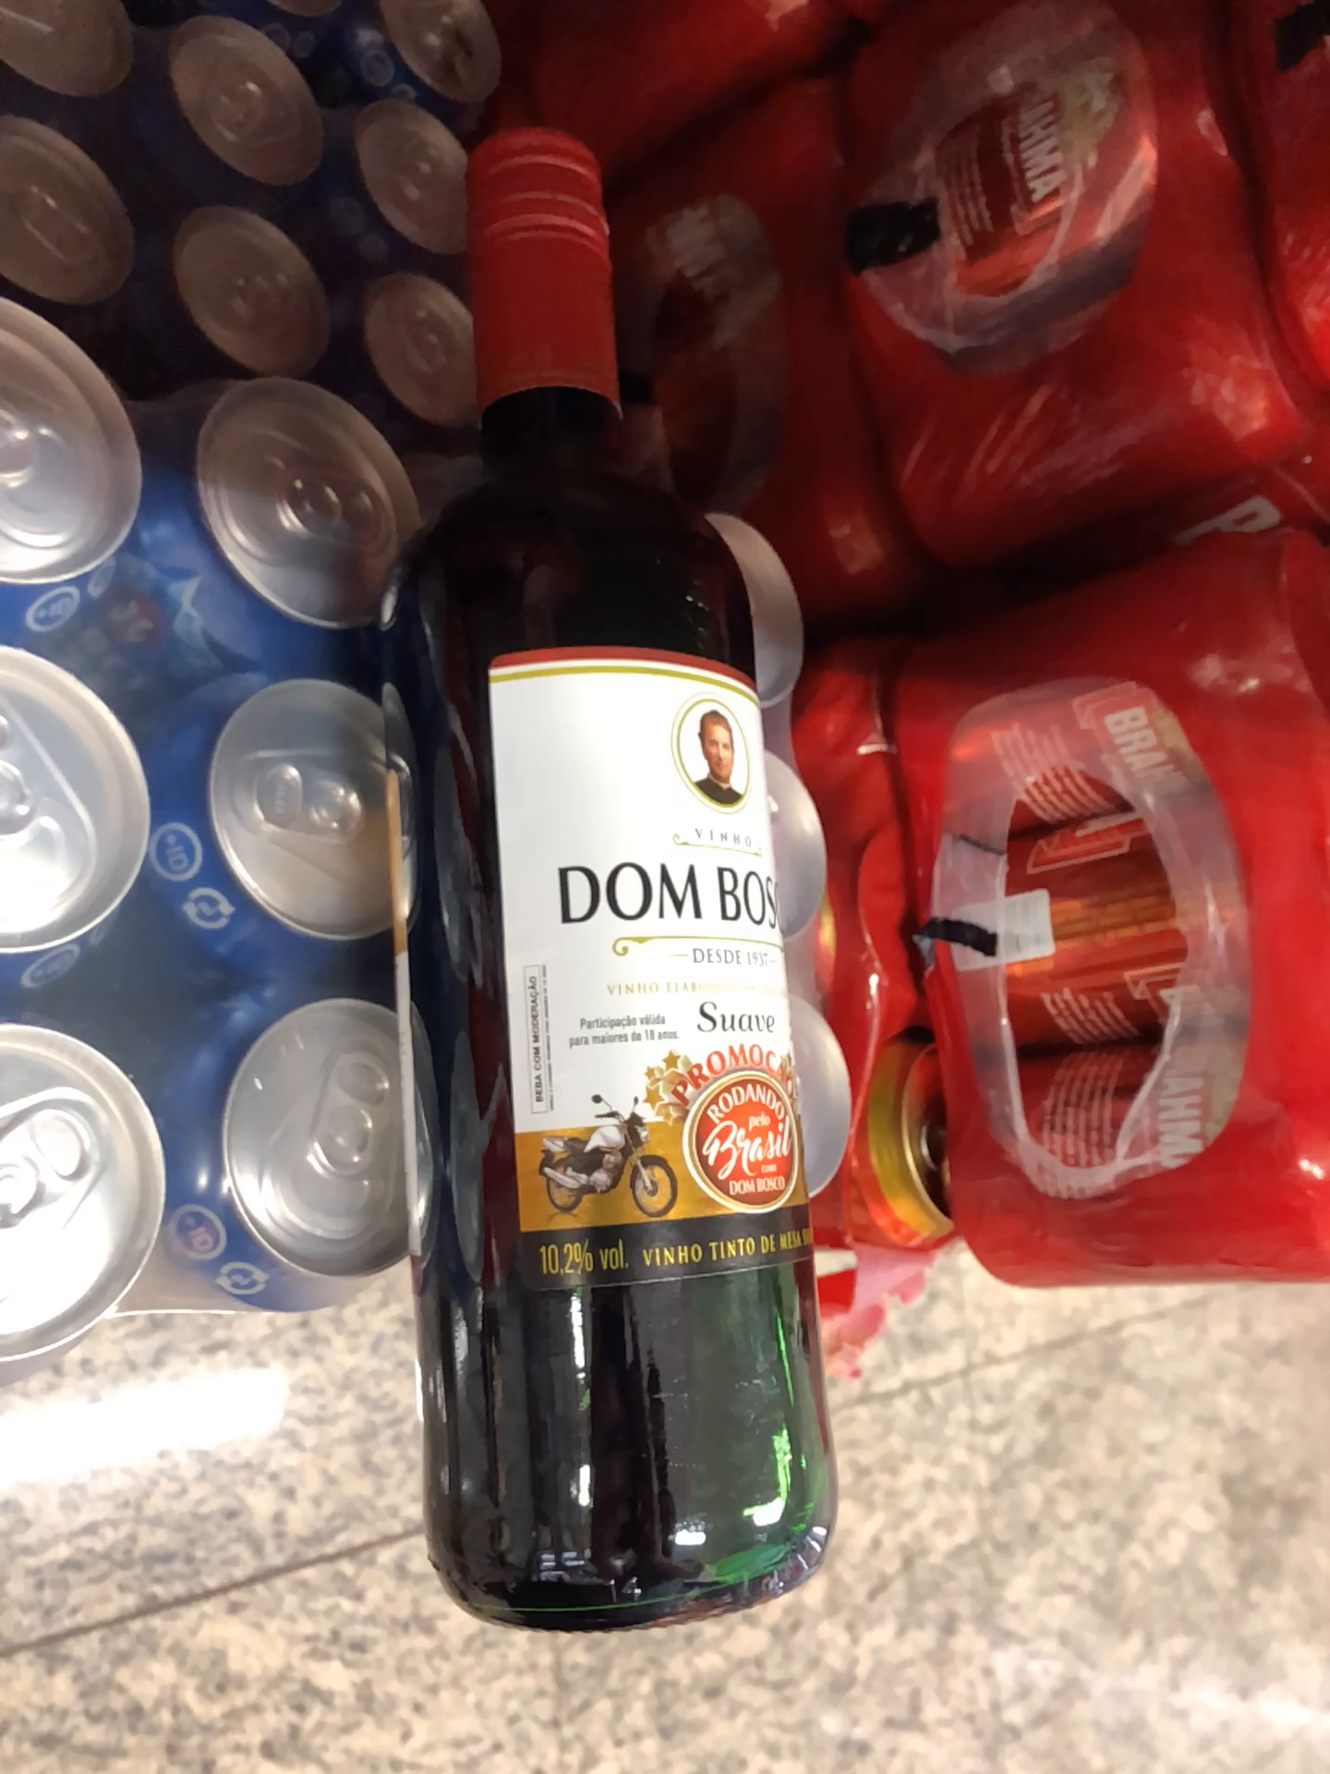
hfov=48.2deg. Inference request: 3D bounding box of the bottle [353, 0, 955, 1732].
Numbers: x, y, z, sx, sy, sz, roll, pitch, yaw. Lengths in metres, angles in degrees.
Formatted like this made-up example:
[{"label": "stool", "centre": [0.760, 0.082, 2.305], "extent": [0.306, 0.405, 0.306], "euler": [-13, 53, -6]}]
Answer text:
[{"label": "bottle", "centre": [-0.006, -0.011, 0.303], "extent": [0.081, 0.070, 0.300], "euler": [6, 77, -45]}]
